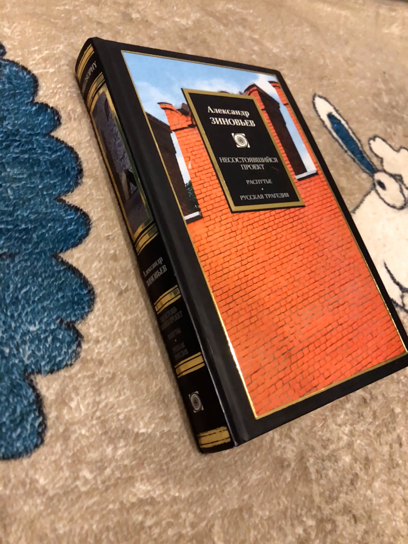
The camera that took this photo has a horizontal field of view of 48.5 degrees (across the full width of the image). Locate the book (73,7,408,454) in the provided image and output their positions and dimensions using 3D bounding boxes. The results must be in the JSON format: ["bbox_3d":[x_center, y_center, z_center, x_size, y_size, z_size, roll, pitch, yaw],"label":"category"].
[{"bbox_3d":[0.029,-0.035,0.246,0.141,0.040,0.210,-8,69,-35],"label":"book"}]
